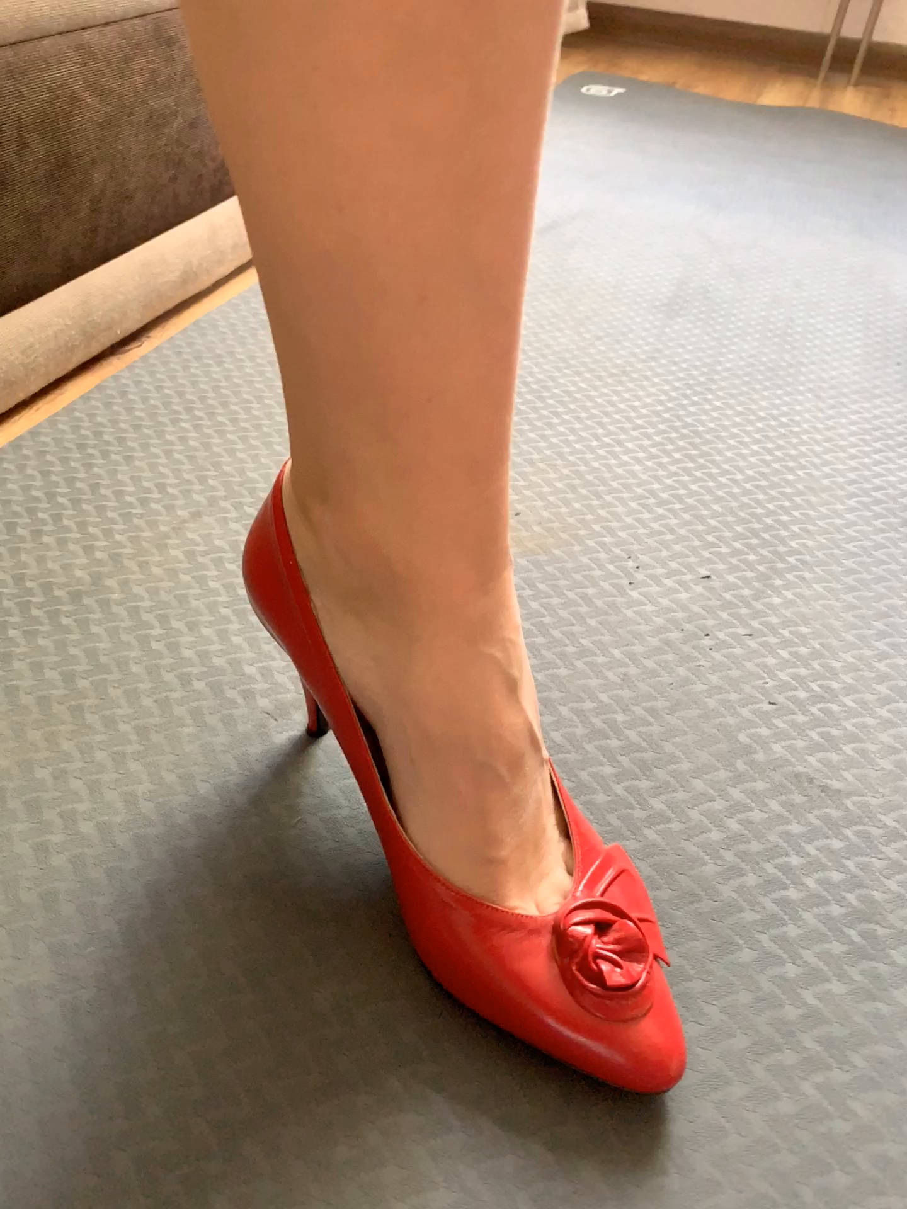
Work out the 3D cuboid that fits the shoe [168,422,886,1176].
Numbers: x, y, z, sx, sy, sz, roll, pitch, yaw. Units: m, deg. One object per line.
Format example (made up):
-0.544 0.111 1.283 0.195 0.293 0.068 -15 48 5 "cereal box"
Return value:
0.003 0.045 0.301 0.080 0.109 0.211 -27 50 -33 "shoe"
